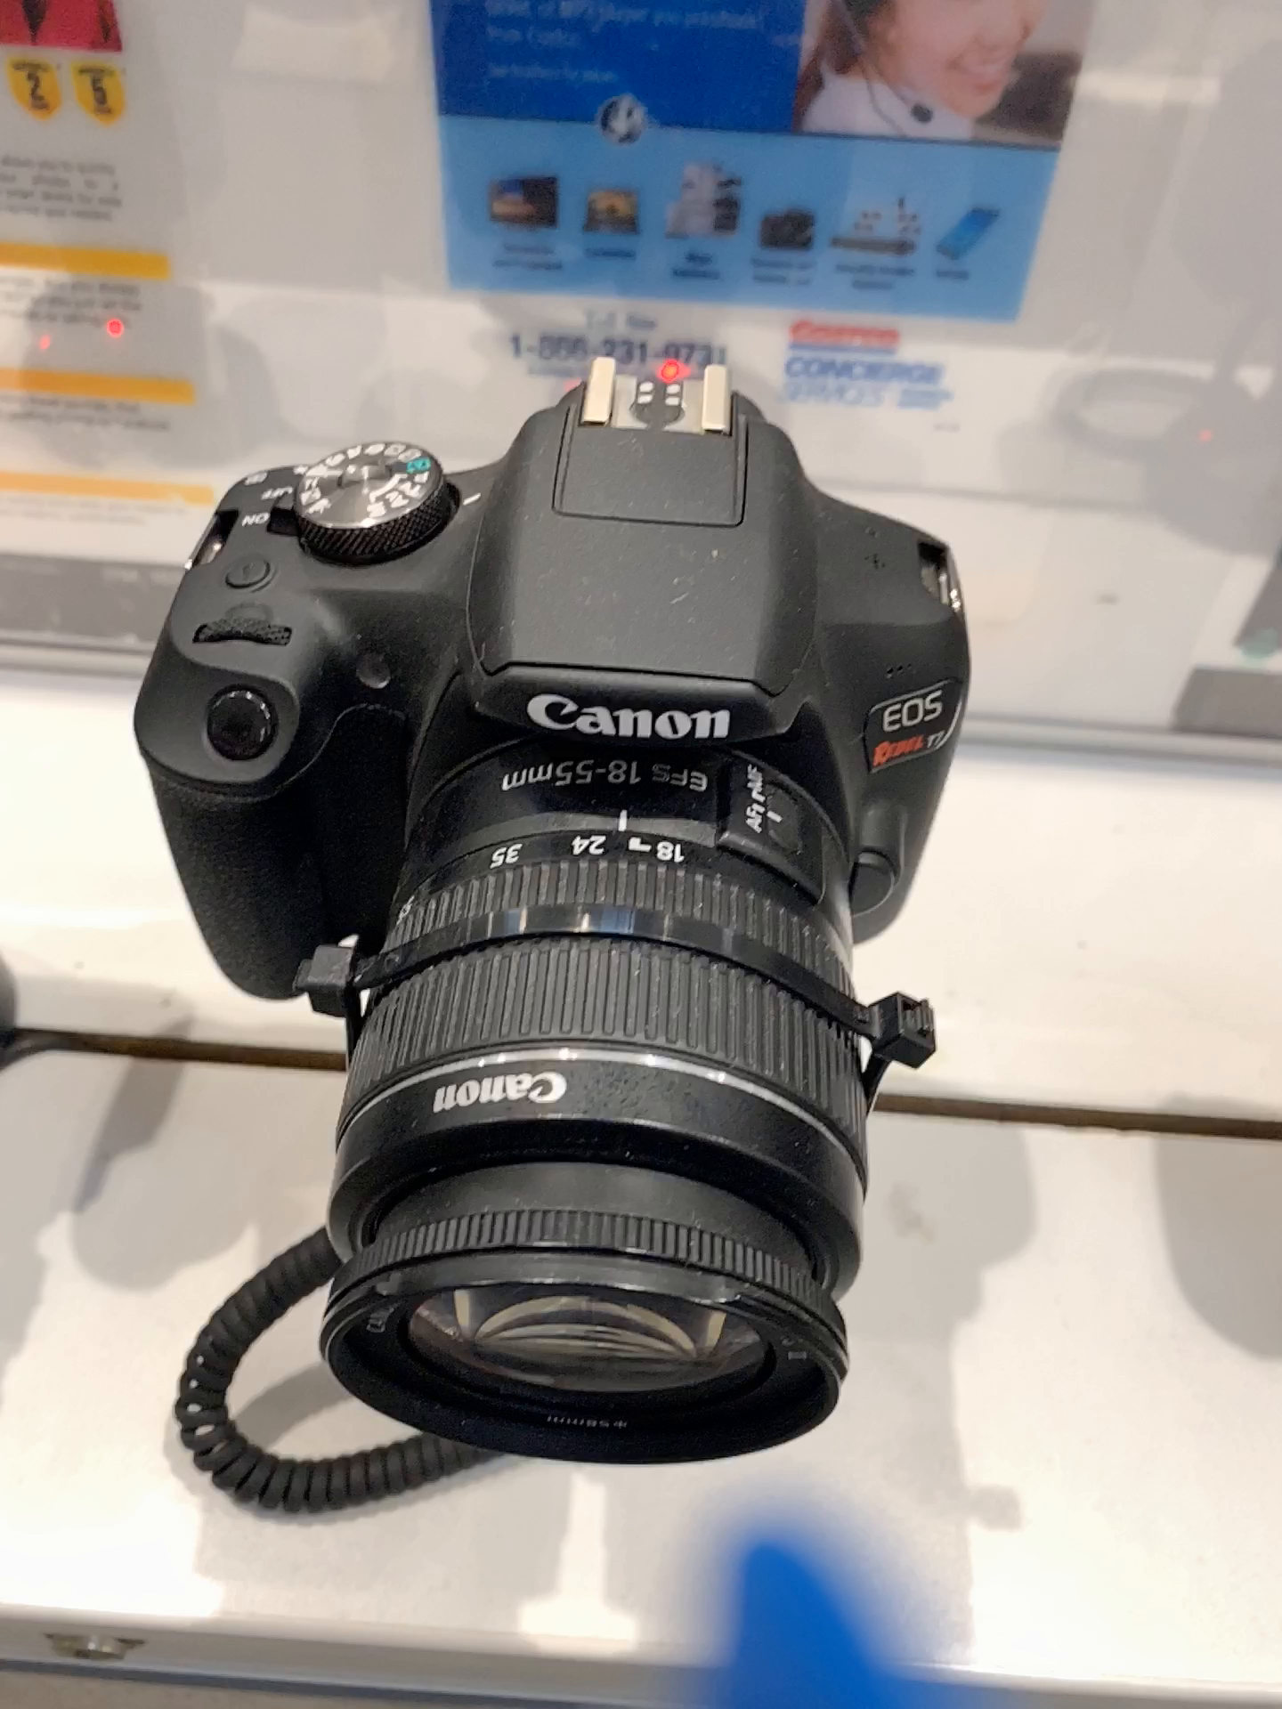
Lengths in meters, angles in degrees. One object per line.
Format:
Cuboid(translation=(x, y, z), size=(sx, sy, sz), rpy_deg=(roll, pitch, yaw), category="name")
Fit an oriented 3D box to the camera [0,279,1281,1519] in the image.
Cuboid(translation=(-0.009, 0.000, 0.189), size=(0.130, 0.089, 0.141), rpy_deg=(4, 48, -1), category="camera")
